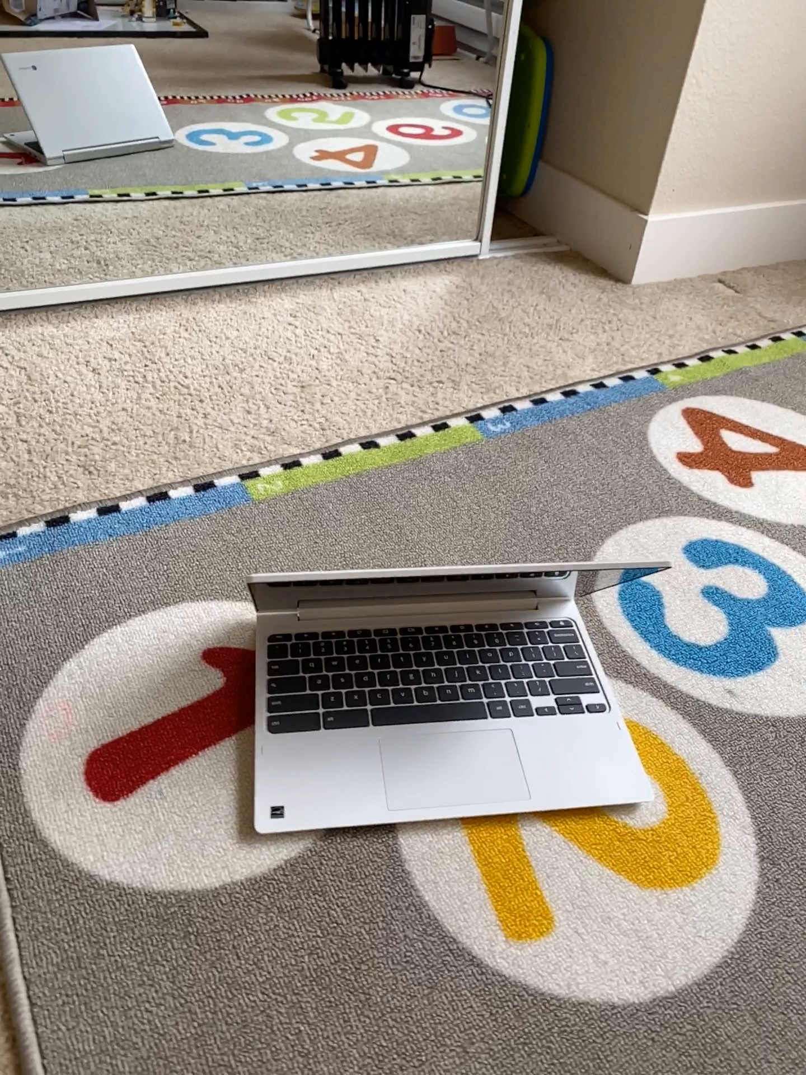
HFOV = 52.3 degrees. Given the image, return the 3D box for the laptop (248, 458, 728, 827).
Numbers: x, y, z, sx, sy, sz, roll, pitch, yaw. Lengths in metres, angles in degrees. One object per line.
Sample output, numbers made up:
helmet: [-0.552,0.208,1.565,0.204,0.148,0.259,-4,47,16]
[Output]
laptop: [0.037,0.068,0.629,0.298,0.162,0.217,-1,40,-9]
